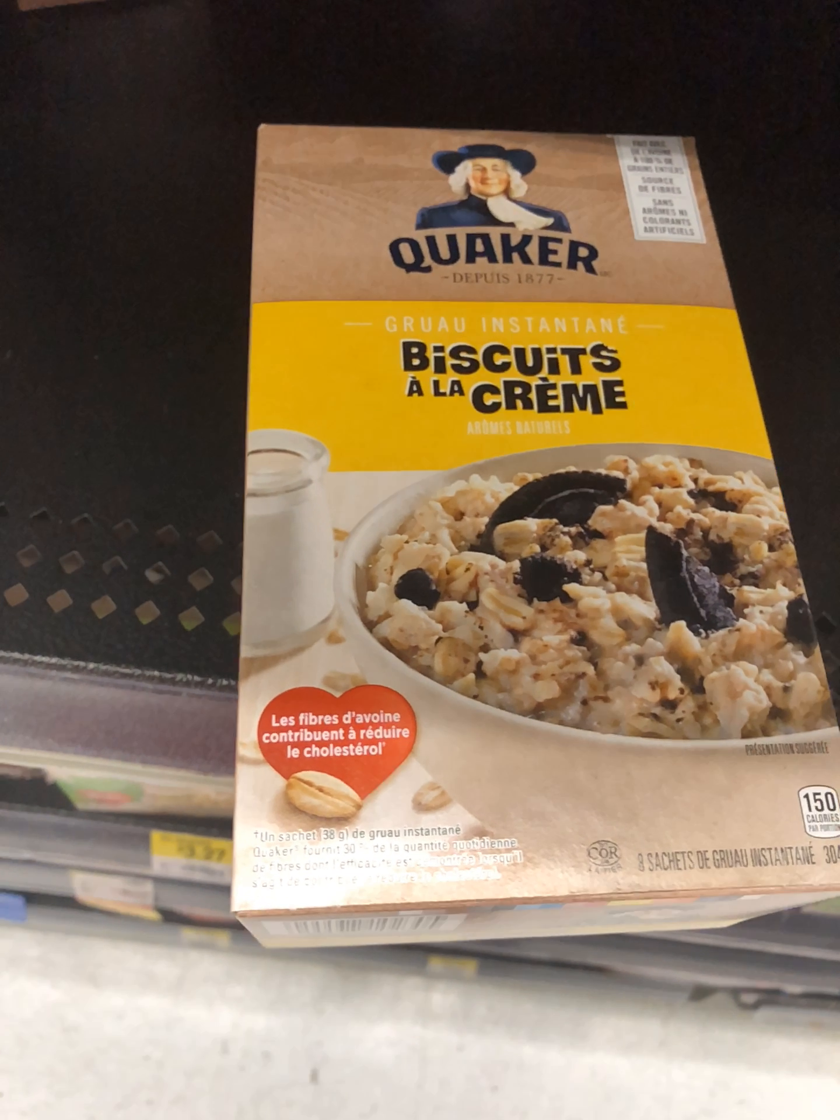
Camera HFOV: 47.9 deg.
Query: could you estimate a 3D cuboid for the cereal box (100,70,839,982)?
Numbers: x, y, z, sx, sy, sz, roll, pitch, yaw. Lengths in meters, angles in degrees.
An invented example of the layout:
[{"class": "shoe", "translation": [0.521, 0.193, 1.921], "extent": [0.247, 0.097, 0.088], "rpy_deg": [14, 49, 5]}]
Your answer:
[{"class": "cereal box", "translation": [0.011, -0.015, 0.233], "extent": [0.140, 0.070, 0.210], "rpy_deg": [-1, 66, -5]}]
